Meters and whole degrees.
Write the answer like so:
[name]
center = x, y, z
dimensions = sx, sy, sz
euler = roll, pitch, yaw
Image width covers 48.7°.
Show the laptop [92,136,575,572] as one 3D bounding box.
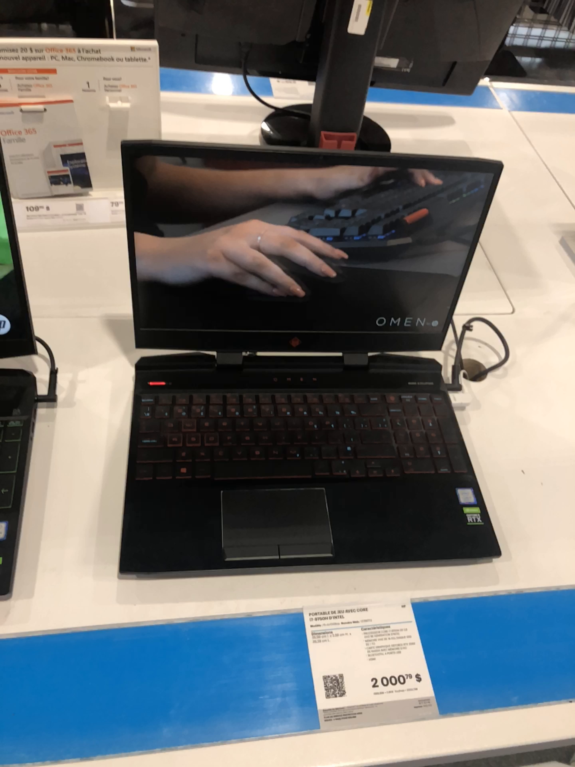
[laptop]
center = 0.030, -0.028, 0.593
dimensions = 0.355, 0.239, 0.294
euler = 0, 51, -9
